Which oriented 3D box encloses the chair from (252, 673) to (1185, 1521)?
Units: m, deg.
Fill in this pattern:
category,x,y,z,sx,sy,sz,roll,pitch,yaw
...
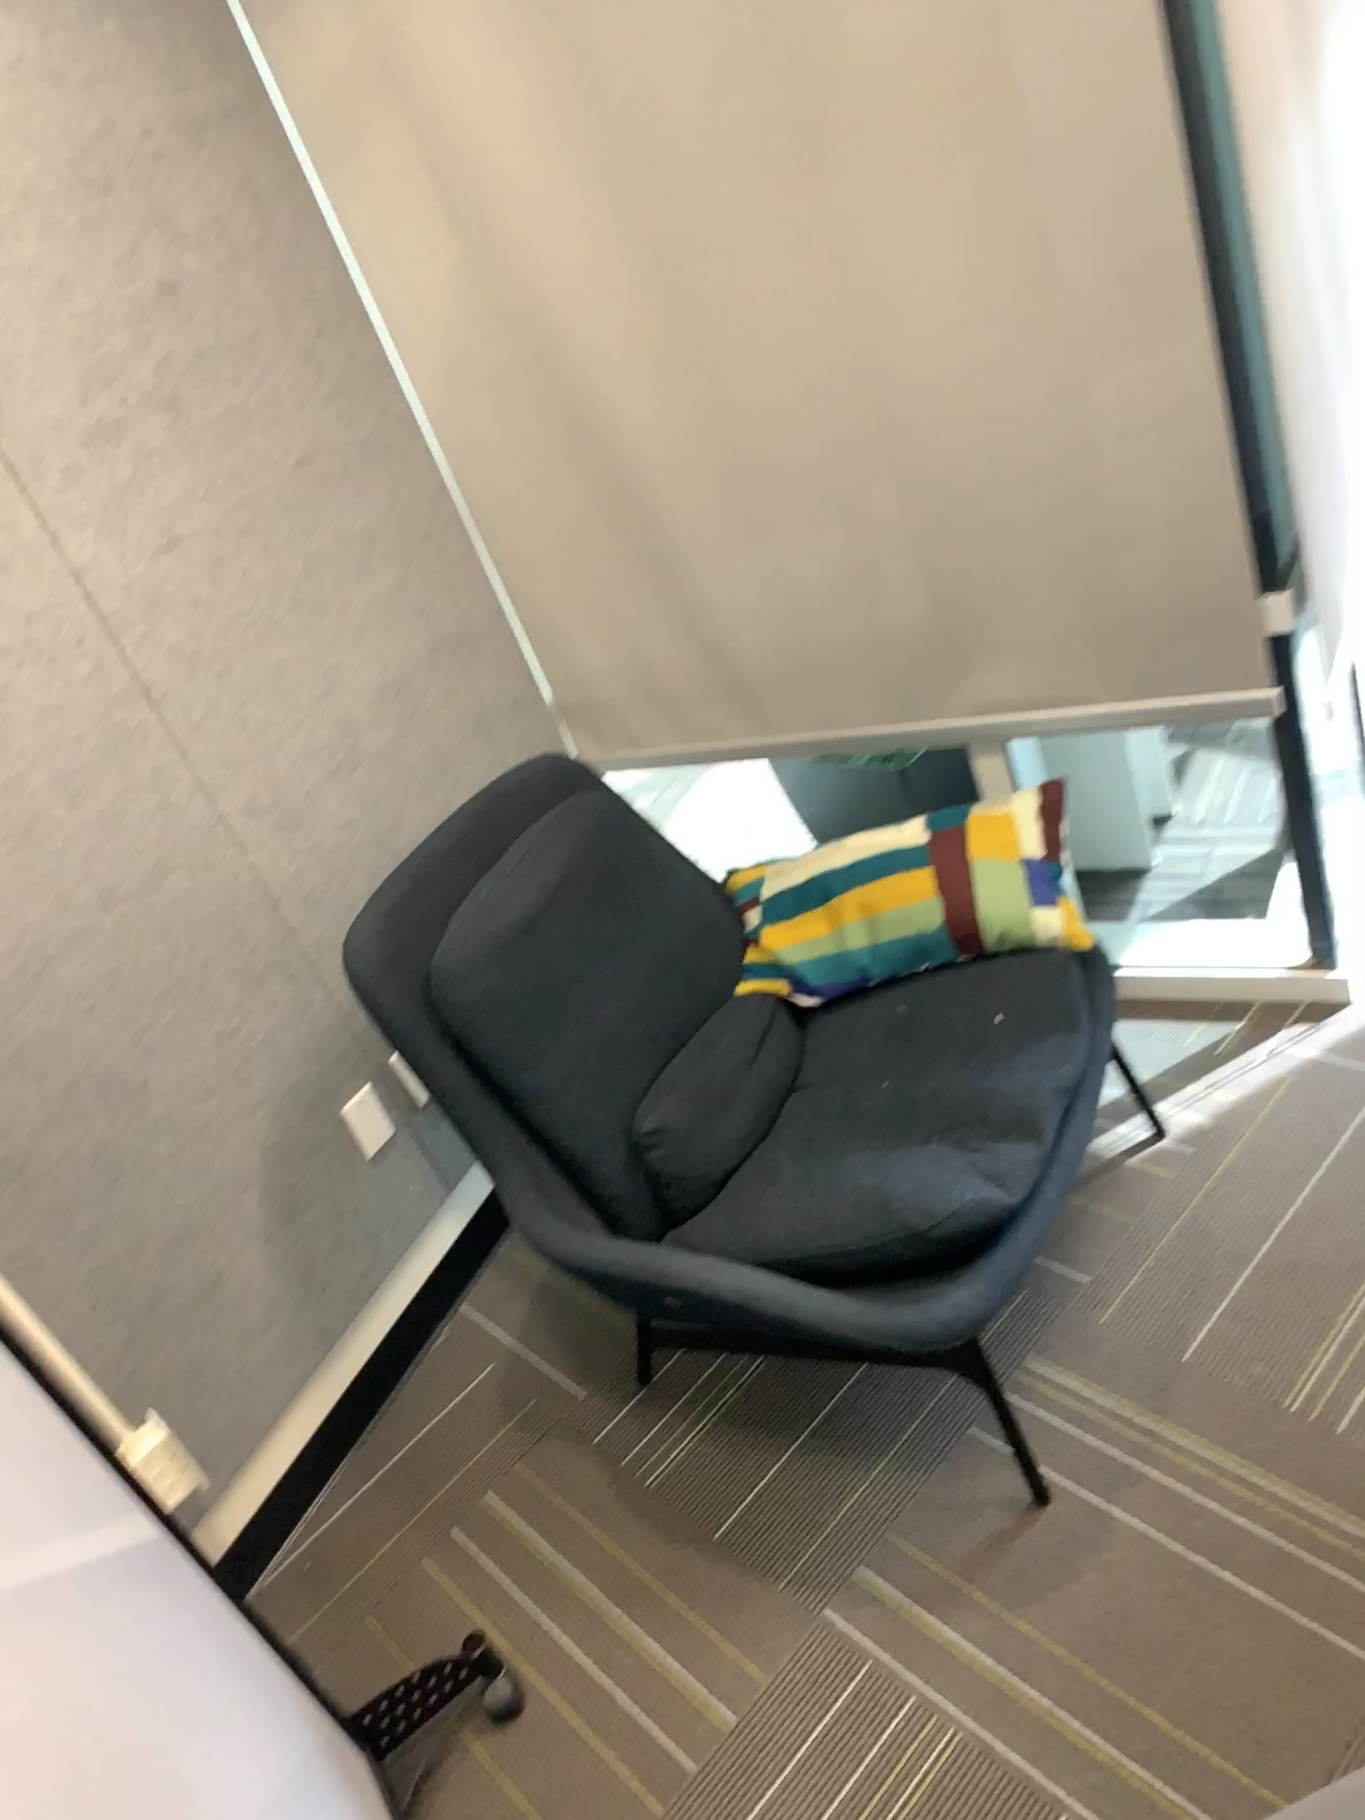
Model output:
category,x,y,z,sx,sy,sz,roll,pitch,yaw
chair,0.095,0.214,2.185,1.004,0.815,0.792,3,38,40
